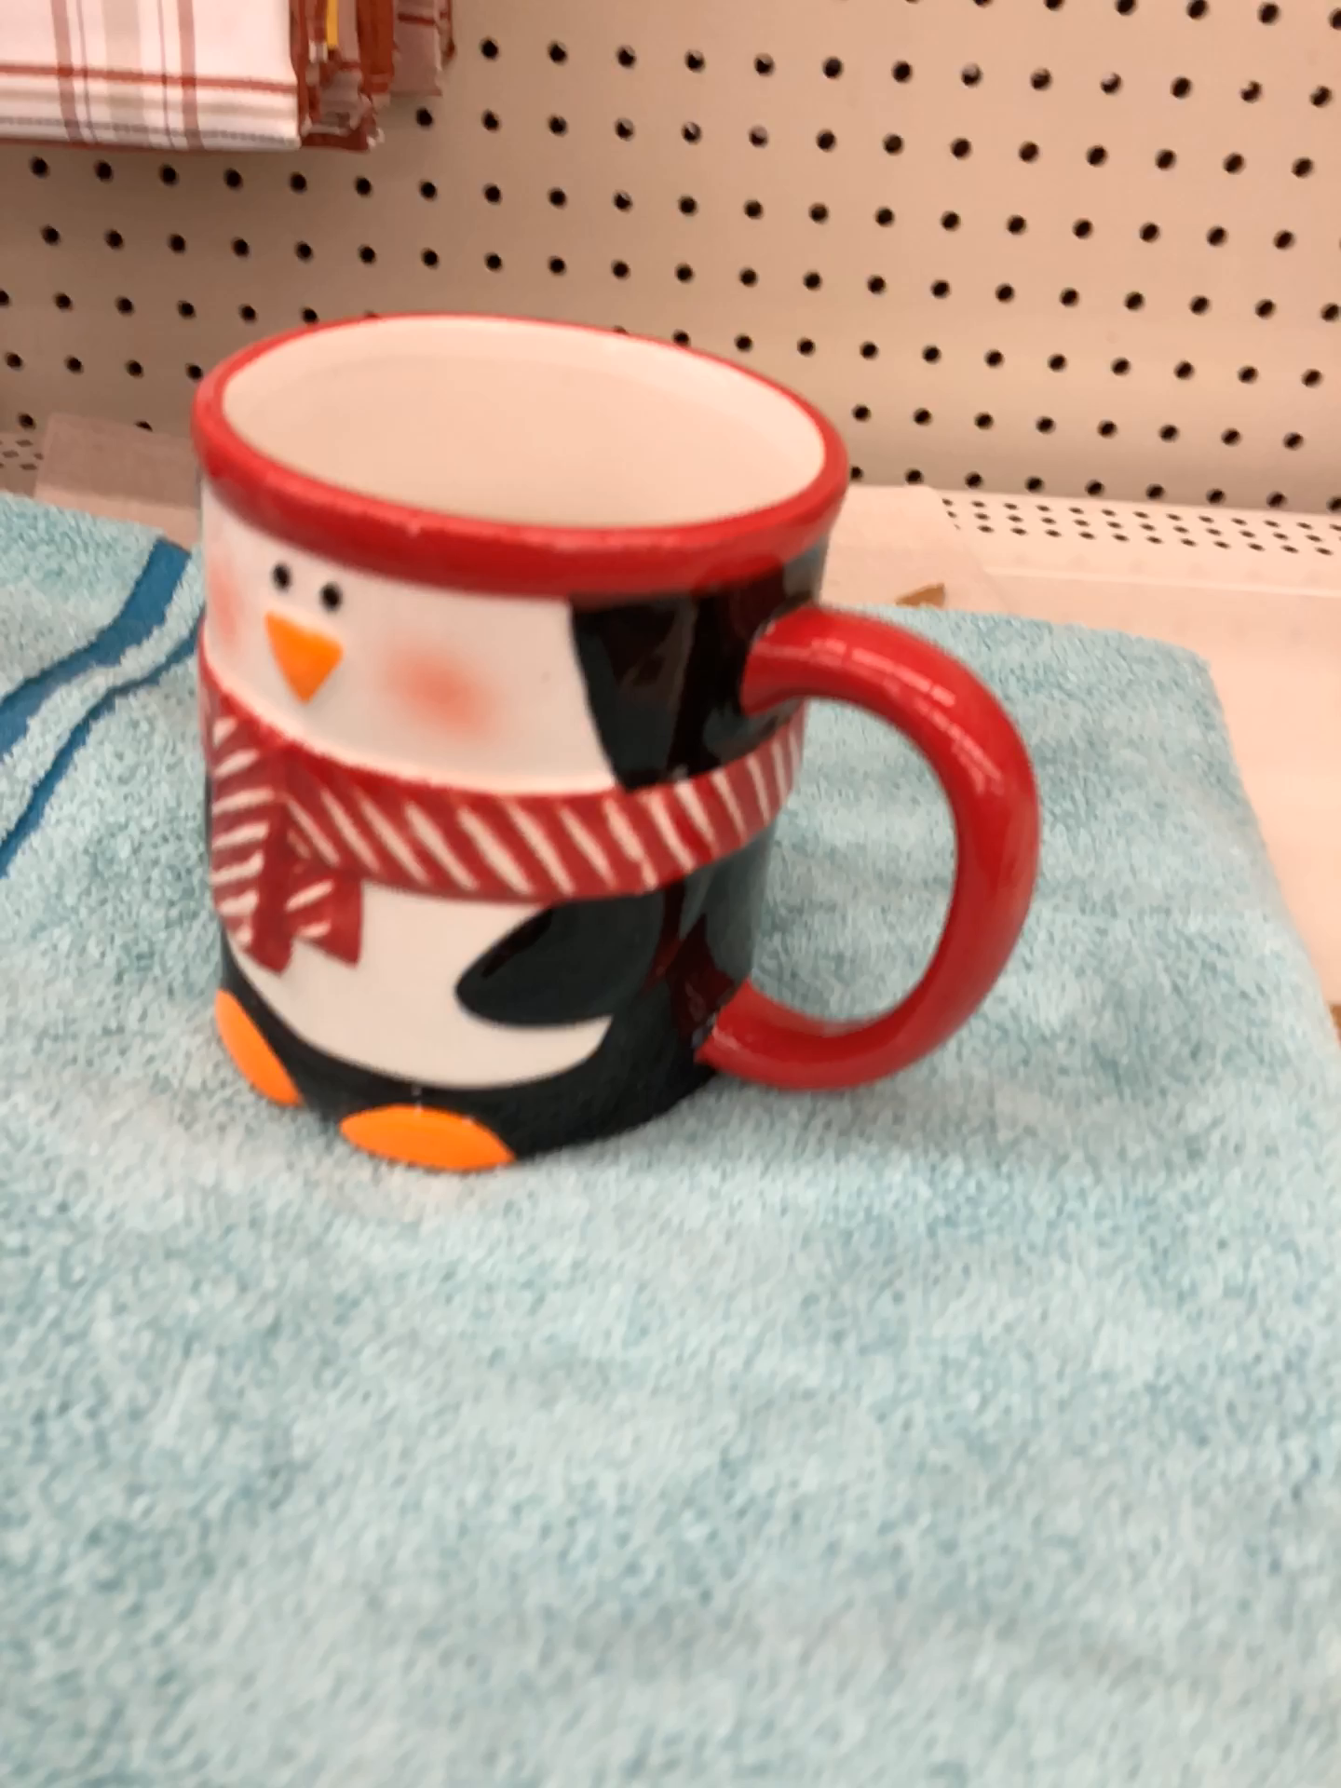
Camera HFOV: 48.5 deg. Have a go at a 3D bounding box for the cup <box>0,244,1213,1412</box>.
[{"bbox_3d":[-0.011,-0.020,0.223,0.130,0.110,0.090,23,37,21],"label":"cup"}]
